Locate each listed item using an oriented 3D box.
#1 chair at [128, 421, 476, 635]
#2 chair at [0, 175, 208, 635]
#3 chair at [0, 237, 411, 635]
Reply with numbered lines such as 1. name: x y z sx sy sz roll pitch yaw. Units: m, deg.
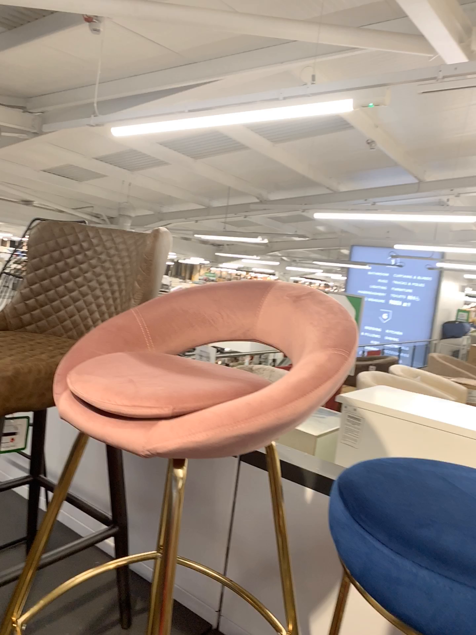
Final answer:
1. chair: 0.233 0.510 0.528 0.462 0.620 0.431 10 4 40
2. chair: -0.462 0.226 1.088 0.502 0.960 0.451 9 4 34
3. chair: -0.096 0.337 0.828 0.492 0.860 0.461 10 4 40
